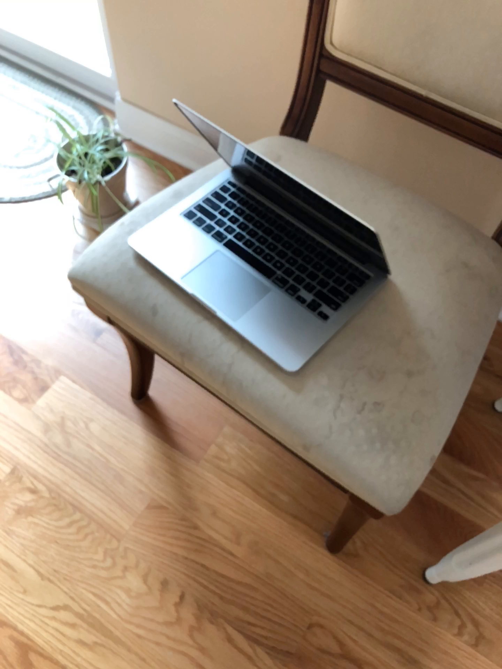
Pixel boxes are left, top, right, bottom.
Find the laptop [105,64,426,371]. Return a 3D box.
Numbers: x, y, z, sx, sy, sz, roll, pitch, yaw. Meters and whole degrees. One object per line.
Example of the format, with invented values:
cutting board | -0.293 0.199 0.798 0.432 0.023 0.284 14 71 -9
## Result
laptop | 0.014 -0.158 0.725 0.309 0.183 0.218 38 62 20
